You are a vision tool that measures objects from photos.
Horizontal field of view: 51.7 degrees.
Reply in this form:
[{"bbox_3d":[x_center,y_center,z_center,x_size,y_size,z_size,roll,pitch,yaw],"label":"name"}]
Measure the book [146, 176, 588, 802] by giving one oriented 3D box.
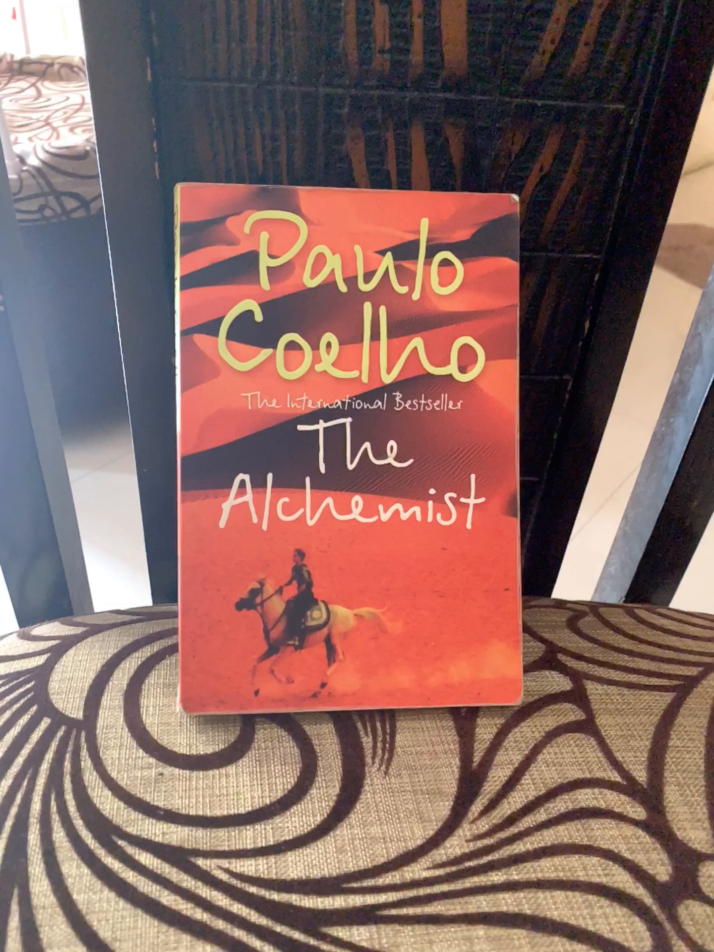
[{"bbox_3d":[0.002,-0.001,0.262,0.140,0.200,0.030,-3,-4,-10],"label":"book"}]
